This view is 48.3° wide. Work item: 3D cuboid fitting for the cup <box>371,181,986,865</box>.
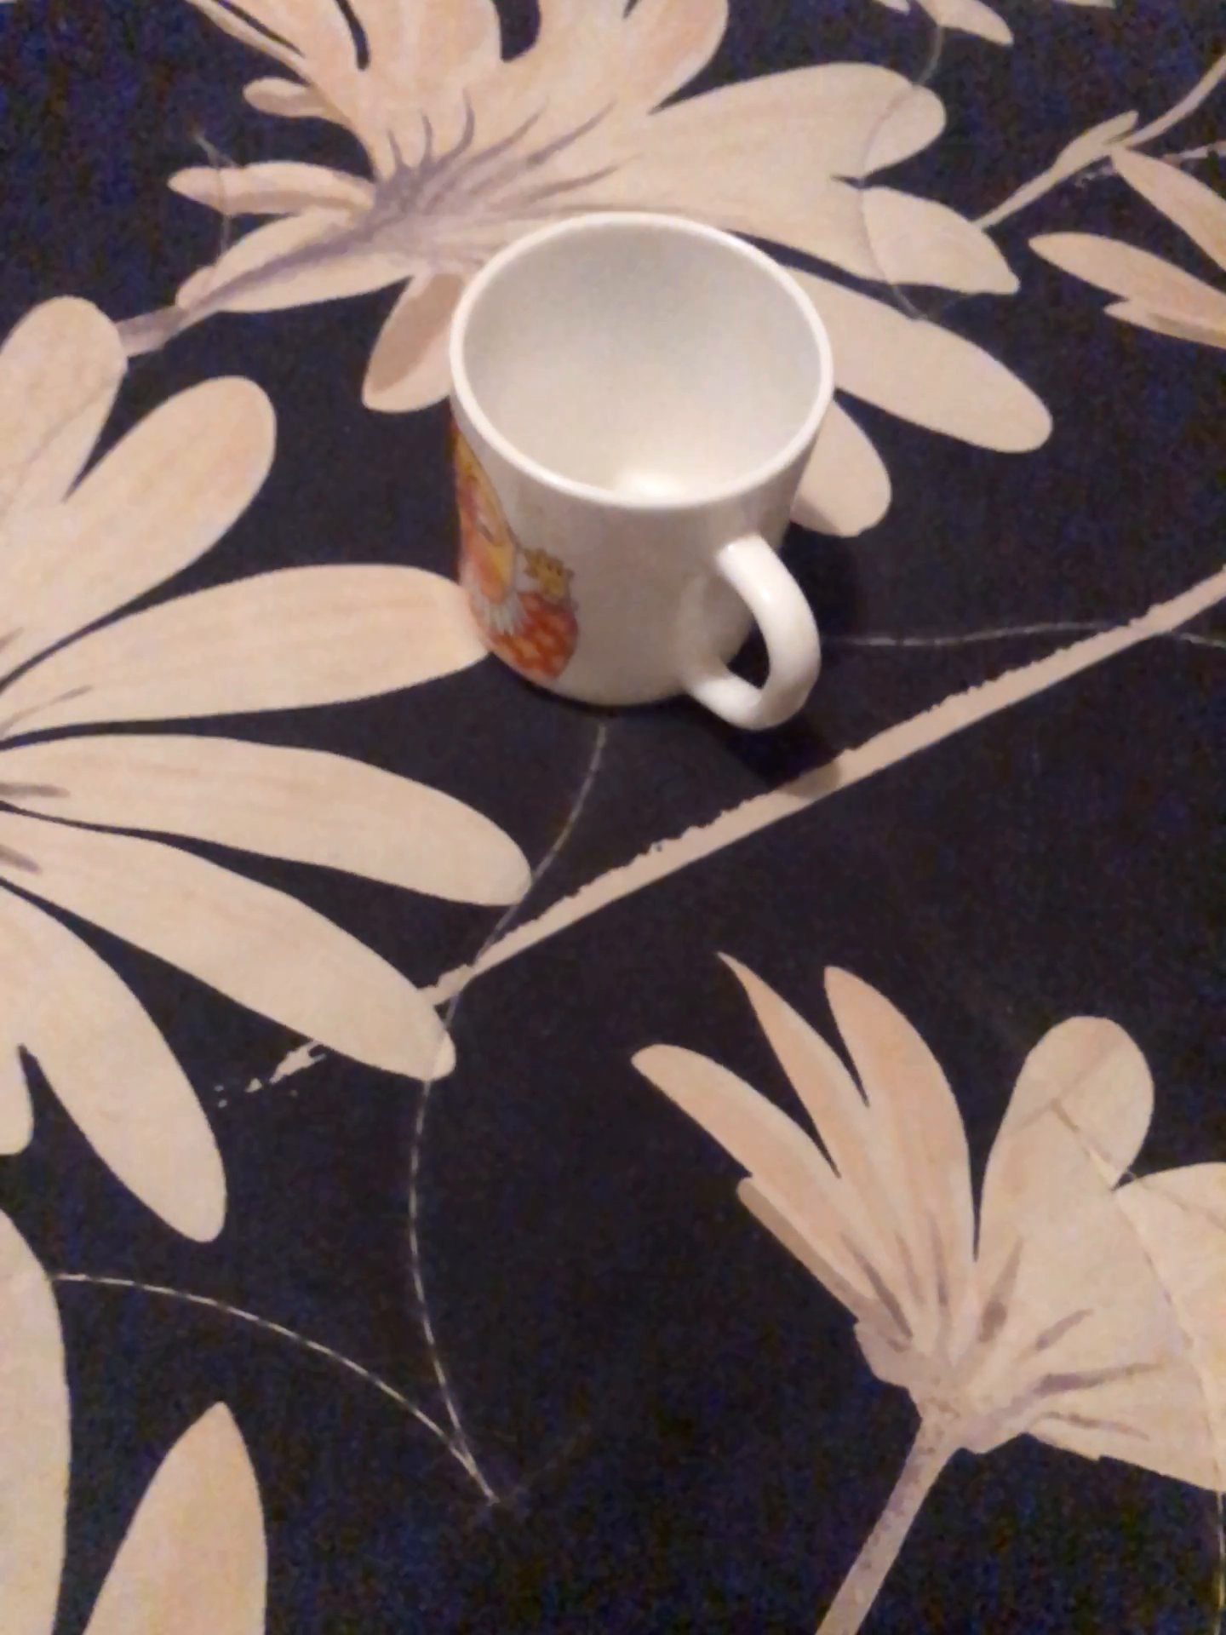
[{"bbox_3d":[0.008,-0.065,0.302,0.085,0.077,0.108,-18,62,-14],"label":"cup"}]
